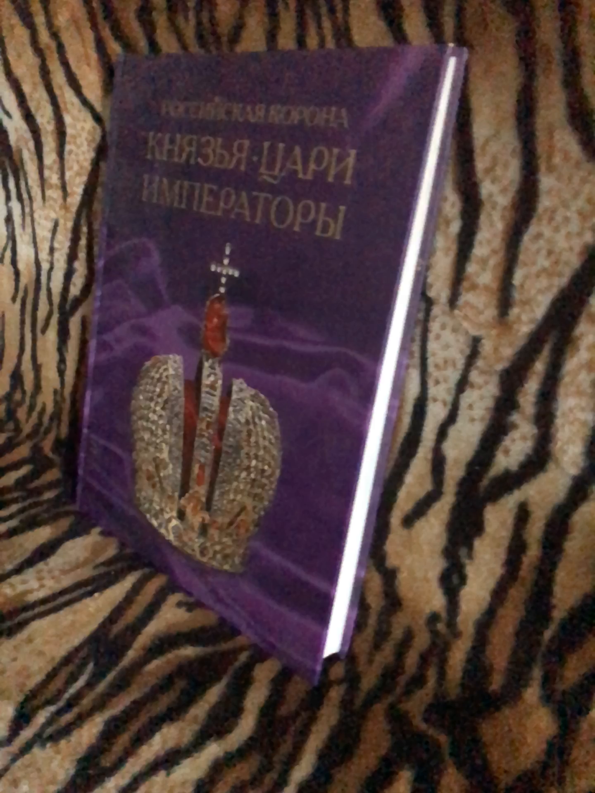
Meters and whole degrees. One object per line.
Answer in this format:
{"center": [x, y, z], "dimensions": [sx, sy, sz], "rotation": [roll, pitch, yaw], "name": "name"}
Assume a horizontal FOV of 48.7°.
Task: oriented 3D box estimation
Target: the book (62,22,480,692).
{"center": [-0.043, -0.032, 0.349], "dimensions": [0.223, 0.279, 0.035], "rotation": [22, 19, 39], "name": "book"}
